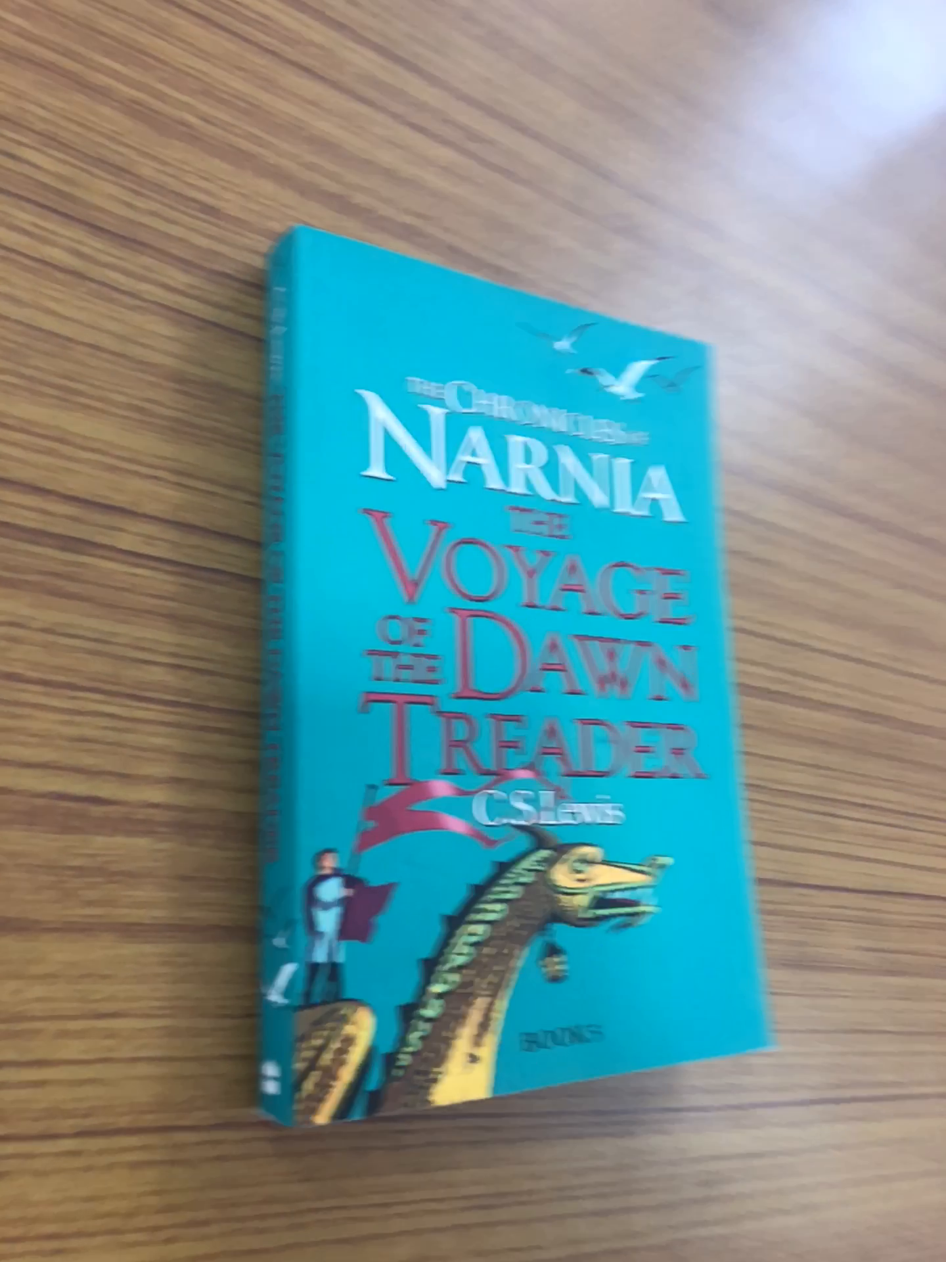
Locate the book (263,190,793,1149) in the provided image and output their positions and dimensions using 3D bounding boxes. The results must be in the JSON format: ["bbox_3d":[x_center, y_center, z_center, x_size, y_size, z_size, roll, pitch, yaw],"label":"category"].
[{"bbox_3d":[0.016,0.007,0.265,0.130,0.030,0.200,6,76,-33],"label":"book"}]
